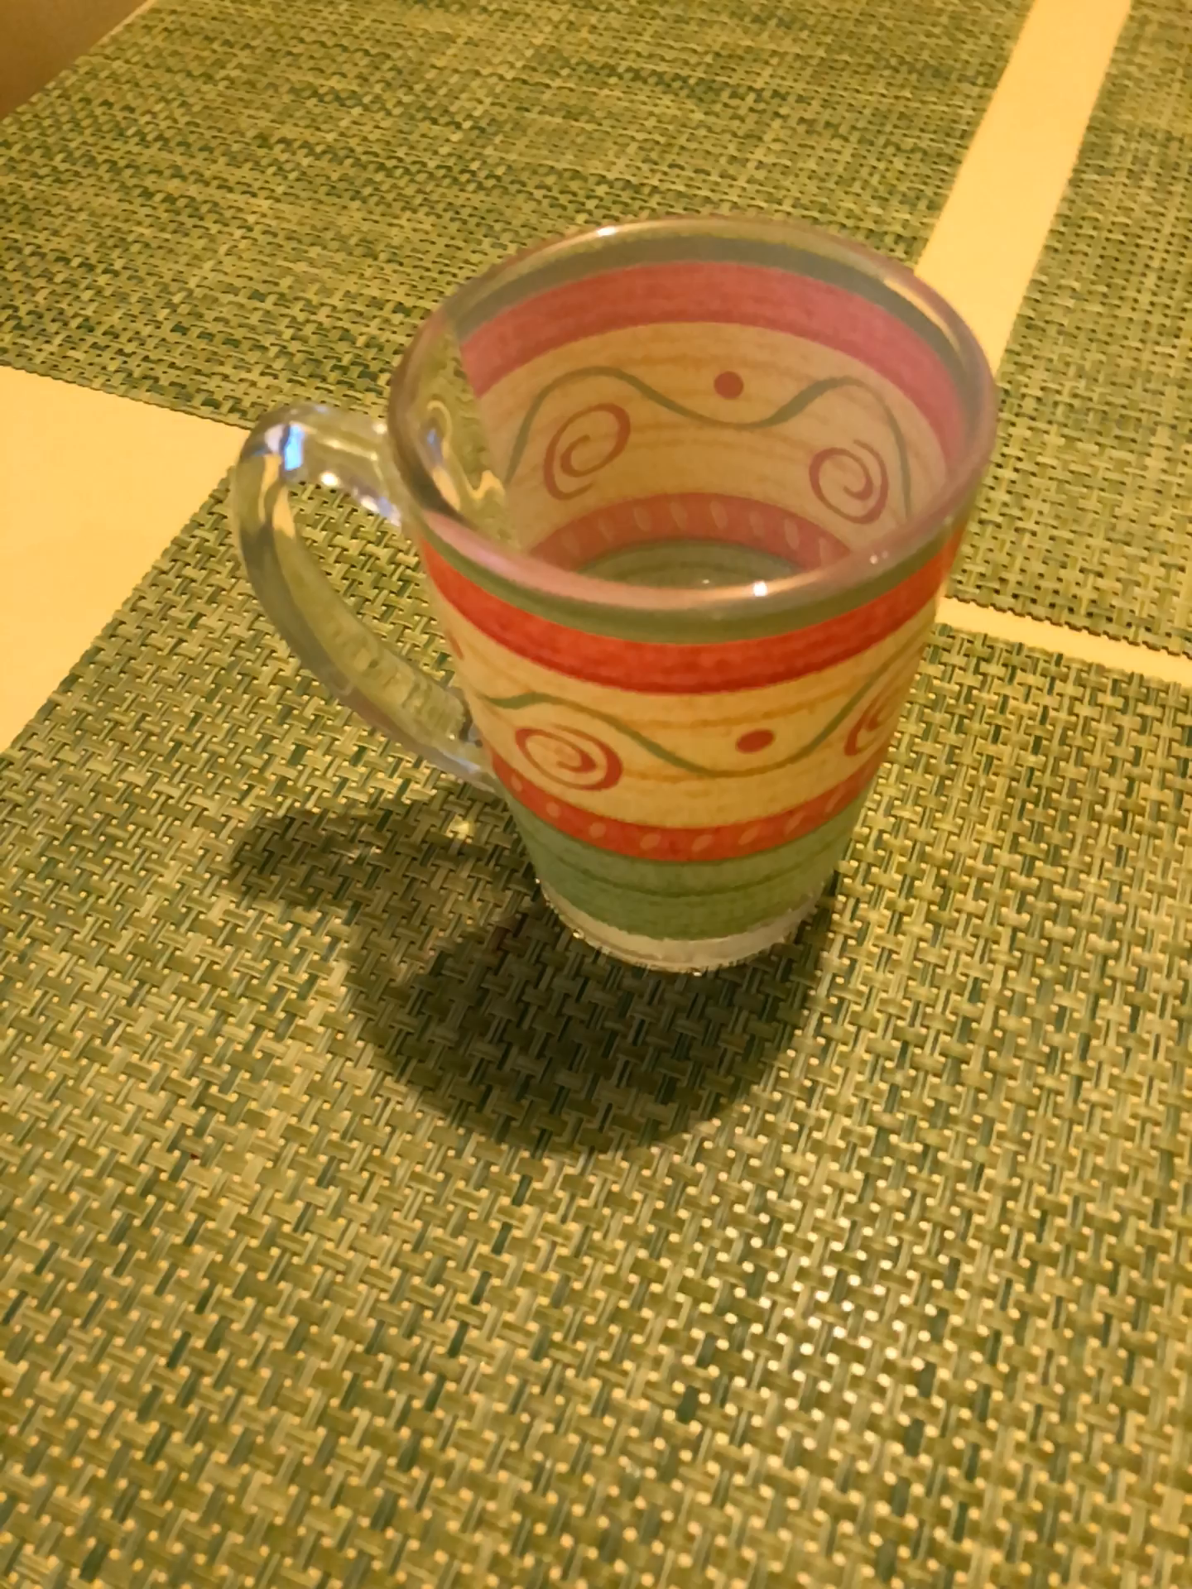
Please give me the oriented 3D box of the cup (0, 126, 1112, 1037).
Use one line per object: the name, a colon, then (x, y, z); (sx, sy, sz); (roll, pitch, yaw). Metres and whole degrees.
cup: (0.001, -0.031, 0.201); (0.120, 0.089, 0.091); (6, 55, 7)
